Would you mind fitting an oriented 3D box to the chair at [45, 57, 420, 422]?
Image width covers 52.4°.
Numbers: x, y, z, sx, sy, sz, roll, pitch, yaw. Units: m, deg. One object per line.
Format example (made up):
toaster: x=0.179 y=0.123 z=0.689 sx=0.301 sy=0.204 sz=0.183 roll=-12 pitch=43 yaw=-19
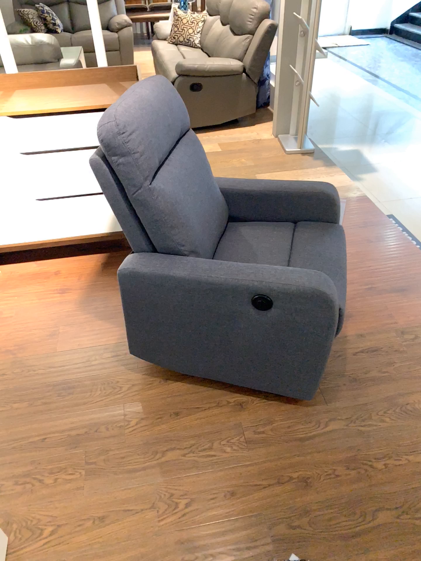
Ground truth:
chair: x=0.126 y=-0.213 z=1.648 sx=0.880 sy=0.966 sz=0.934 roll=7 pitch=40 yaw=10
